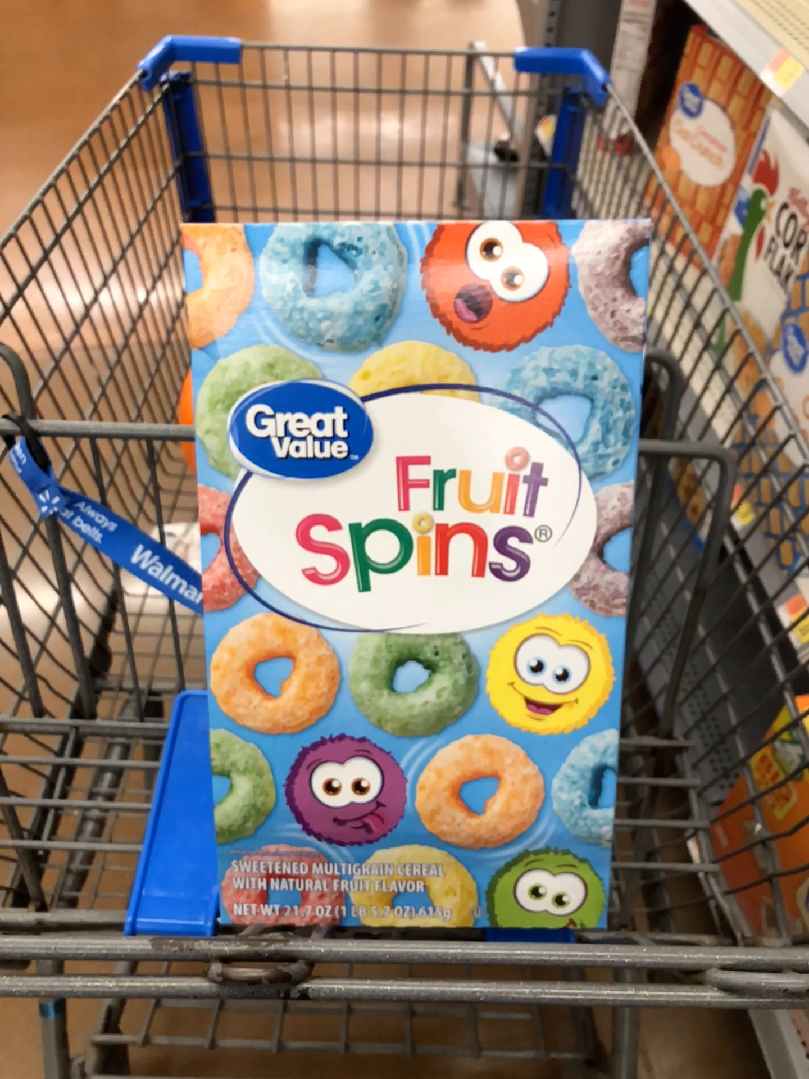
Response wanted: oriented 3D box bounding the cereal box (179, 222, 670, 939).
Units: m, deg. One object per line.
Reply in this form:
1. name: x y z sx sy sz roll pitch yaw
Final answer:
1. cereal box: 0.007 0.024 0.455 0.200 0.340 0.090 1 15 0
